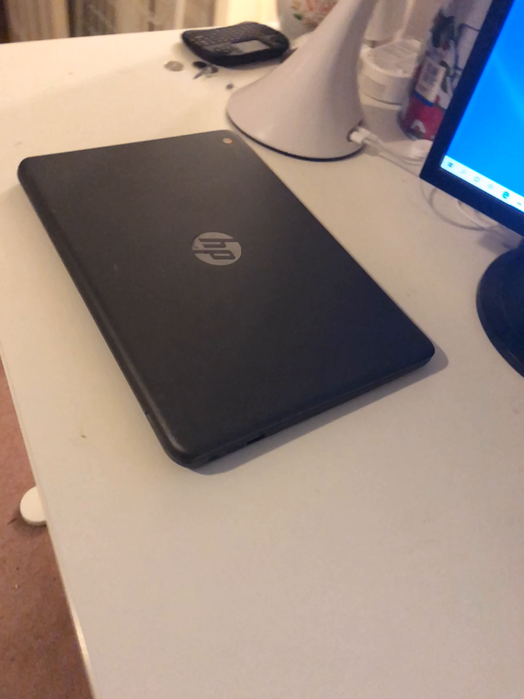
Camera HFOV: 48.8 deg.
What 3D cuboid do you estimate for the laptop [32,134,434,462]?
[{"bbox_3d":[-0.036,-0.079,0.483,0.209,0.001,0.327,-20,57,-26],"label":"laptop"}]
